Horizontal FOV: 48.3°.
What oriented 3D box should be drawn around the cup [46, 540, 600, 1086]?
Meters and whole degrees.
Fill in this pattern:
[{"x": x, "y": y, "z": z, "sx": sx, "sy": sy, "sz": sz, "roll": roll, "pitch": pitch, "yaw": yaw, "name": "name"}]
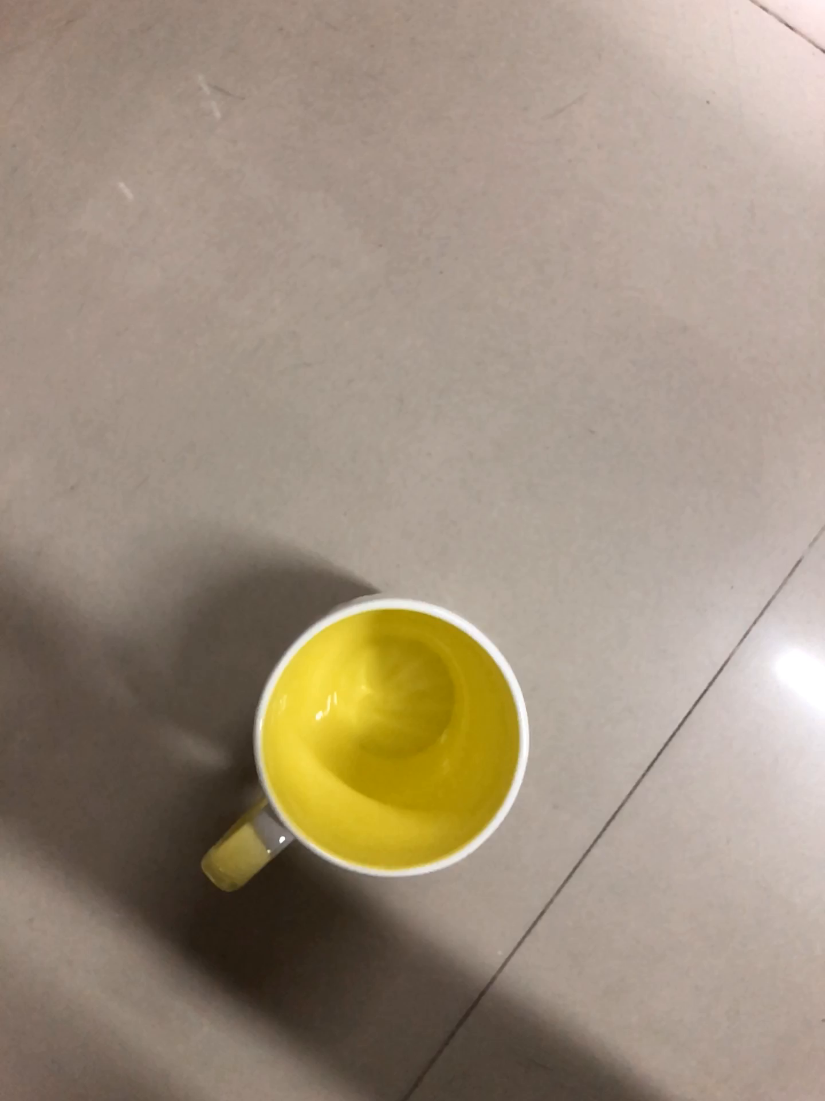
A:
[{"x": -0.023, "y": 0.069, "z": 0.278, "sx": 0.120, "sy": 0.080, "sz": 0.080, "roll": -41, "pitch": 87, "yaw": -1, "name": "cup"}]
